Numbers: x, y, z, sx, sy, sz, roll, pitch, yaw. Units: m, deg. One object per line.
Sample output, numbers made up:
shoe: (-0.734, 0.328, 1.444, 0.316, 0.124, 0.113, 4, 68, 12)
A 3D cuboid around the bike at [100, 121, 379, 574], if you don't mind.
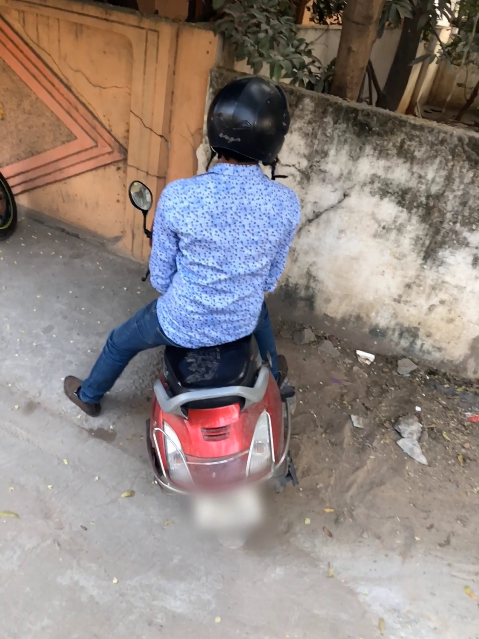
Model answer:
bike: (-0.213, 0.022, 2.299, 0.723, 1.165, 1.509, 1, 36, -16)
